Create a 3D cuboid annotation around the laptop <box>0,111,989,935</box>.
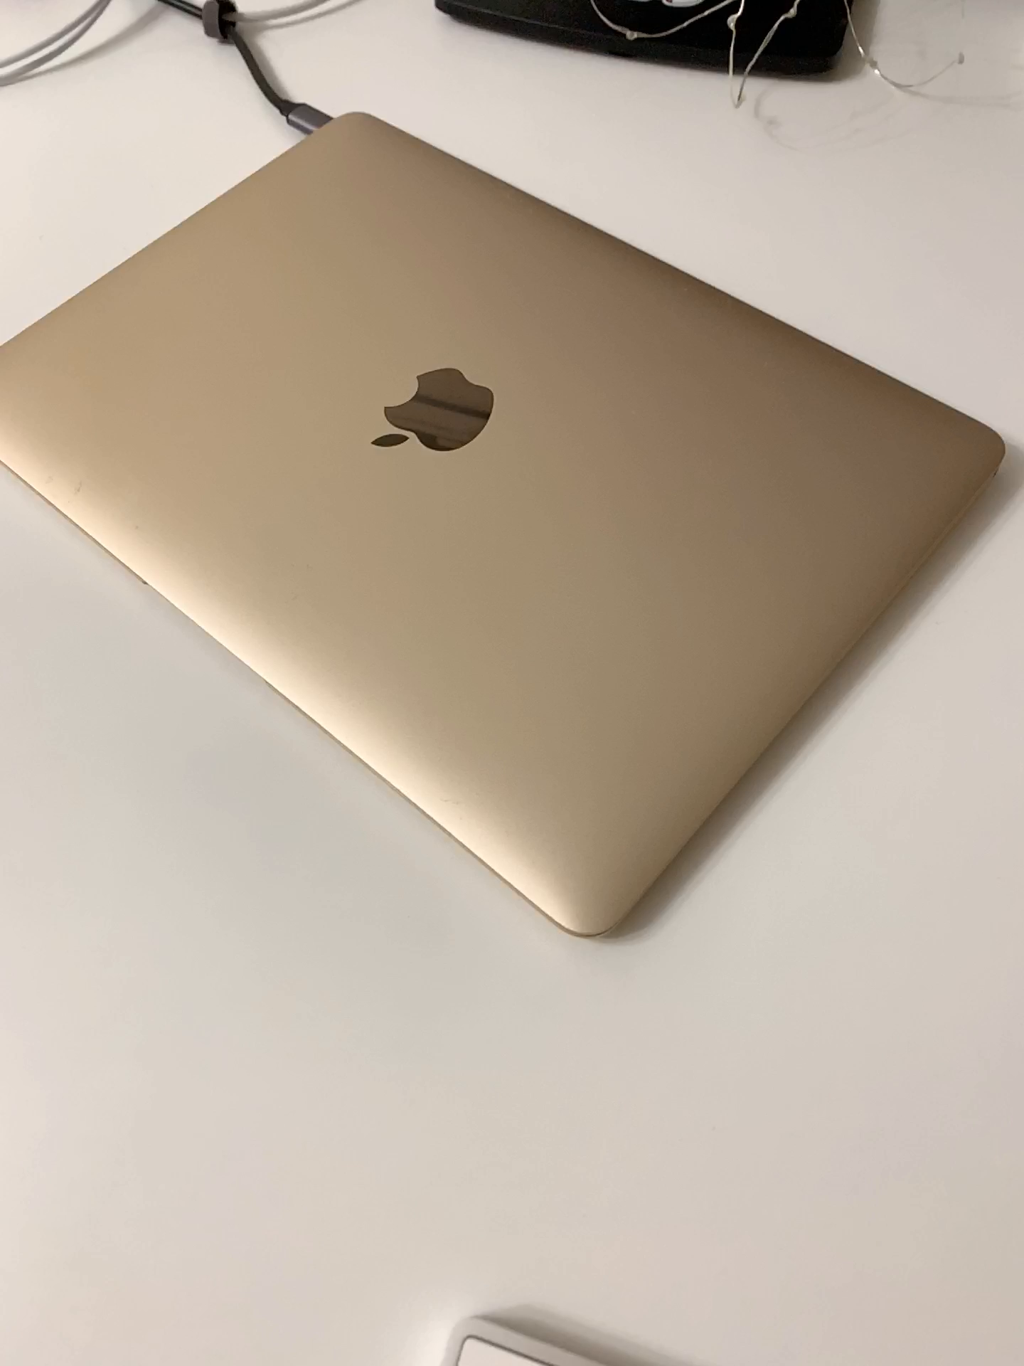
[{"bbox_3d":[-0.019,-0.074,0.318,0.256,0.013,0.173,36,70,21],"label":"laptop"}]
